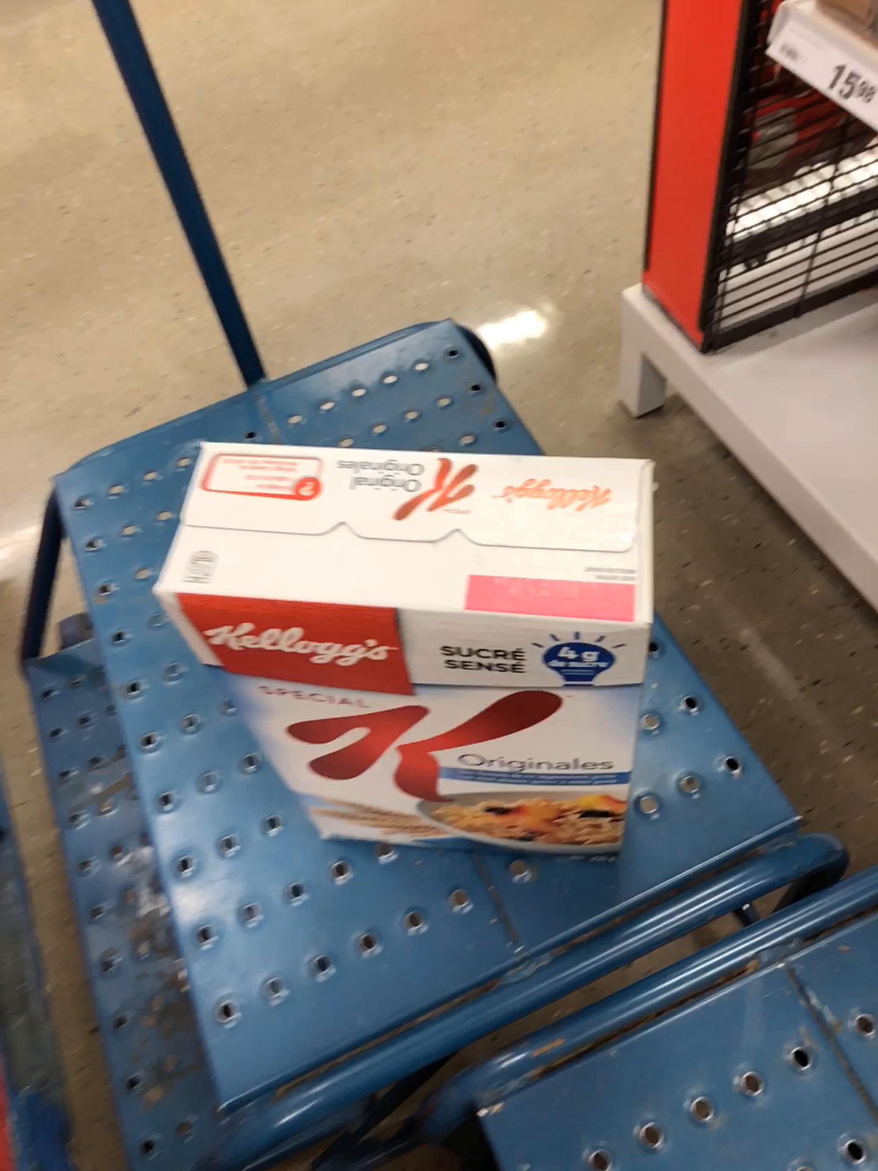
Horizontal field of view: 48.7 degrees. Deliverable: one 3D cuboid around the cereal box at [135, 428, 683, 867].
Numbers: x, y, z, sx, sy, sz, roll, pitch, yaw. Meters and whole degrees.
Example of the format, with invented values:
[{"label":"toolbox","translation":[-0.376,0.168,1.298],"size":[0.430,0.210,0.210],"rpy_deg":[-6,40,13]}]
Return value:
[{"label":"cereal box","translation":[0.008,0.051,0.508],"size":[0.210,0.299,0.080],"rpy_deg":[2,57,10]}]
